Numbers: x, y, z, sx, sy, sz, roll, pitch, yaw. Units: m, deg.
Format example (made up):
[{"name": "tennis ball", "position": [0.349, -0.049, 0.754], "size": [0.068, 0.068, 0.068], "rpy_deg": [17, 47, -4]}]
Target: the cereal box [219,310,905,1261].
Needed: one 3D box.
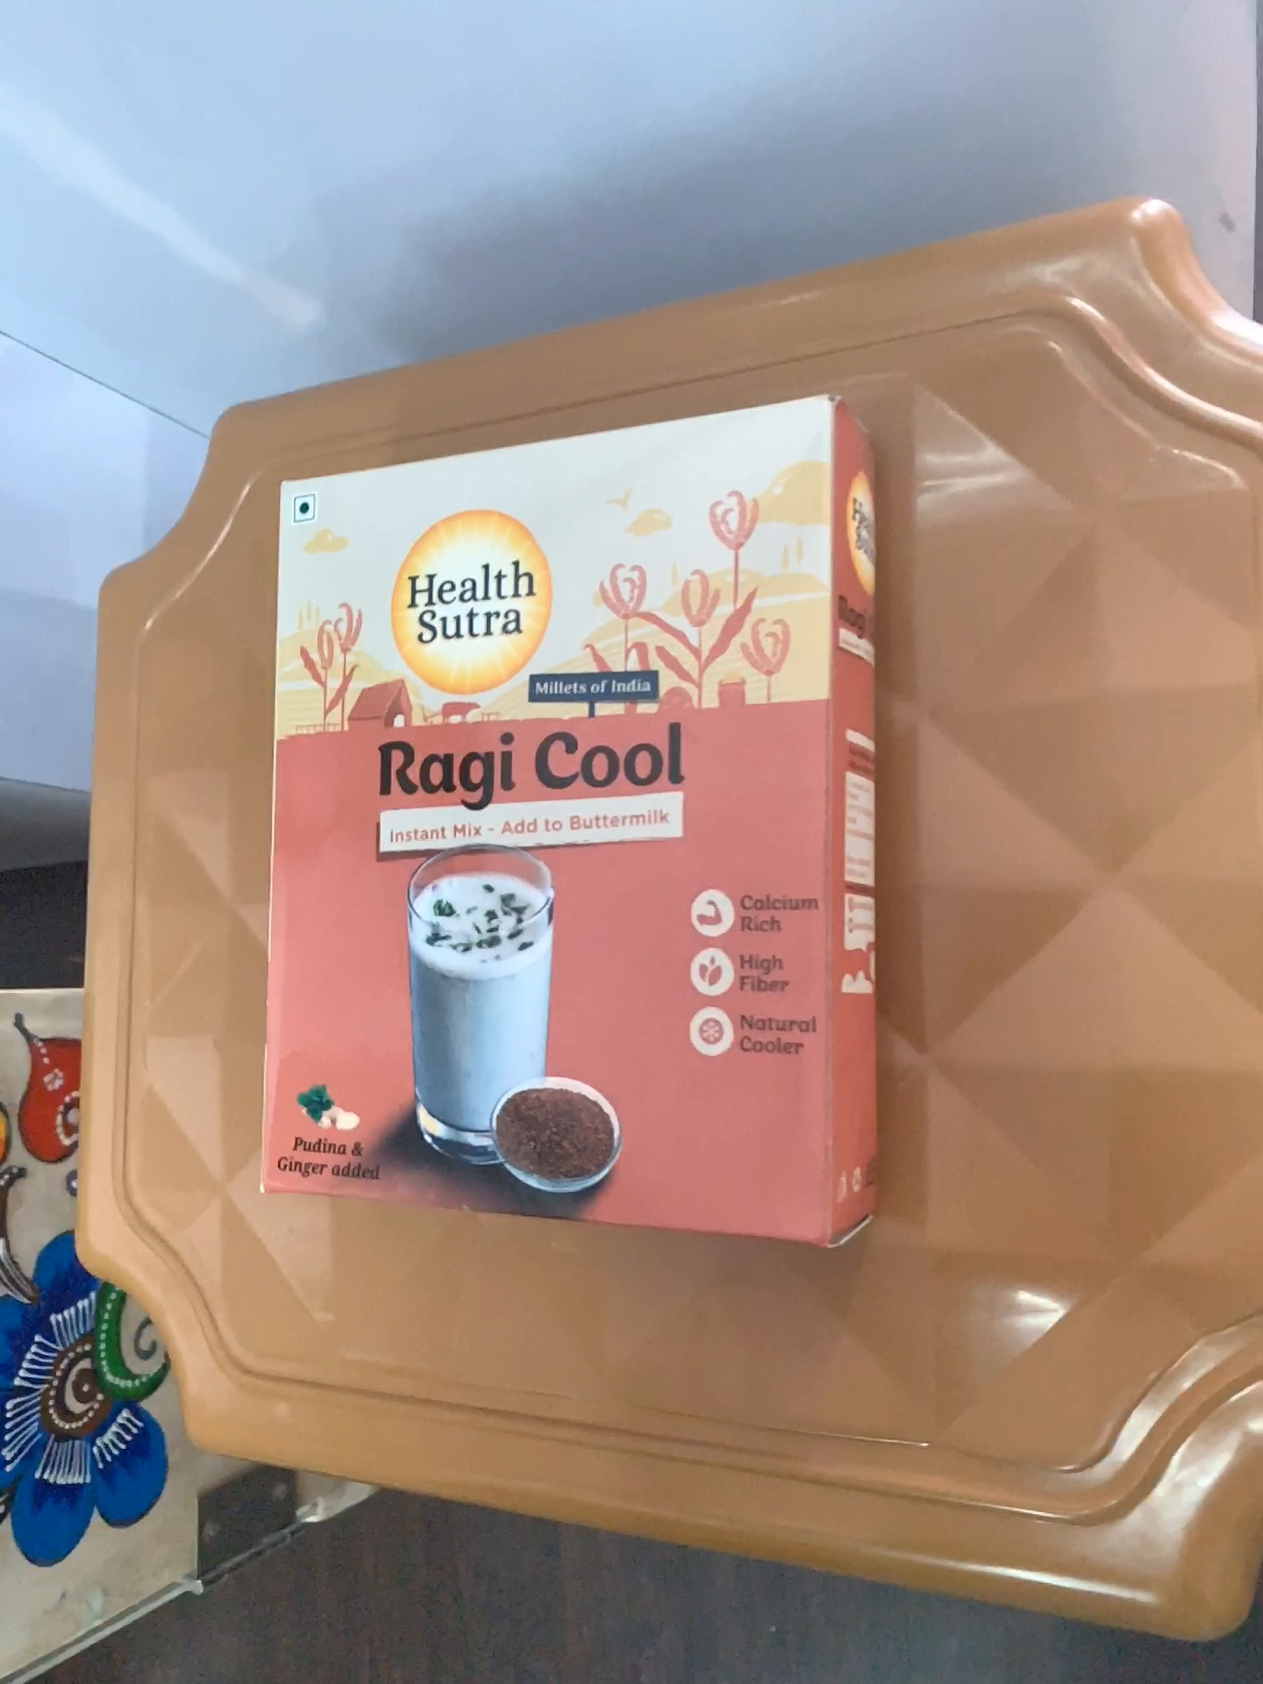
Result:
[{"name": "cereal box", "position": [-0.017, -0.009, 0.277], "size": [0.140, 0.040, 0.170], "rpy_deg": [-2, 84, 25]}]
